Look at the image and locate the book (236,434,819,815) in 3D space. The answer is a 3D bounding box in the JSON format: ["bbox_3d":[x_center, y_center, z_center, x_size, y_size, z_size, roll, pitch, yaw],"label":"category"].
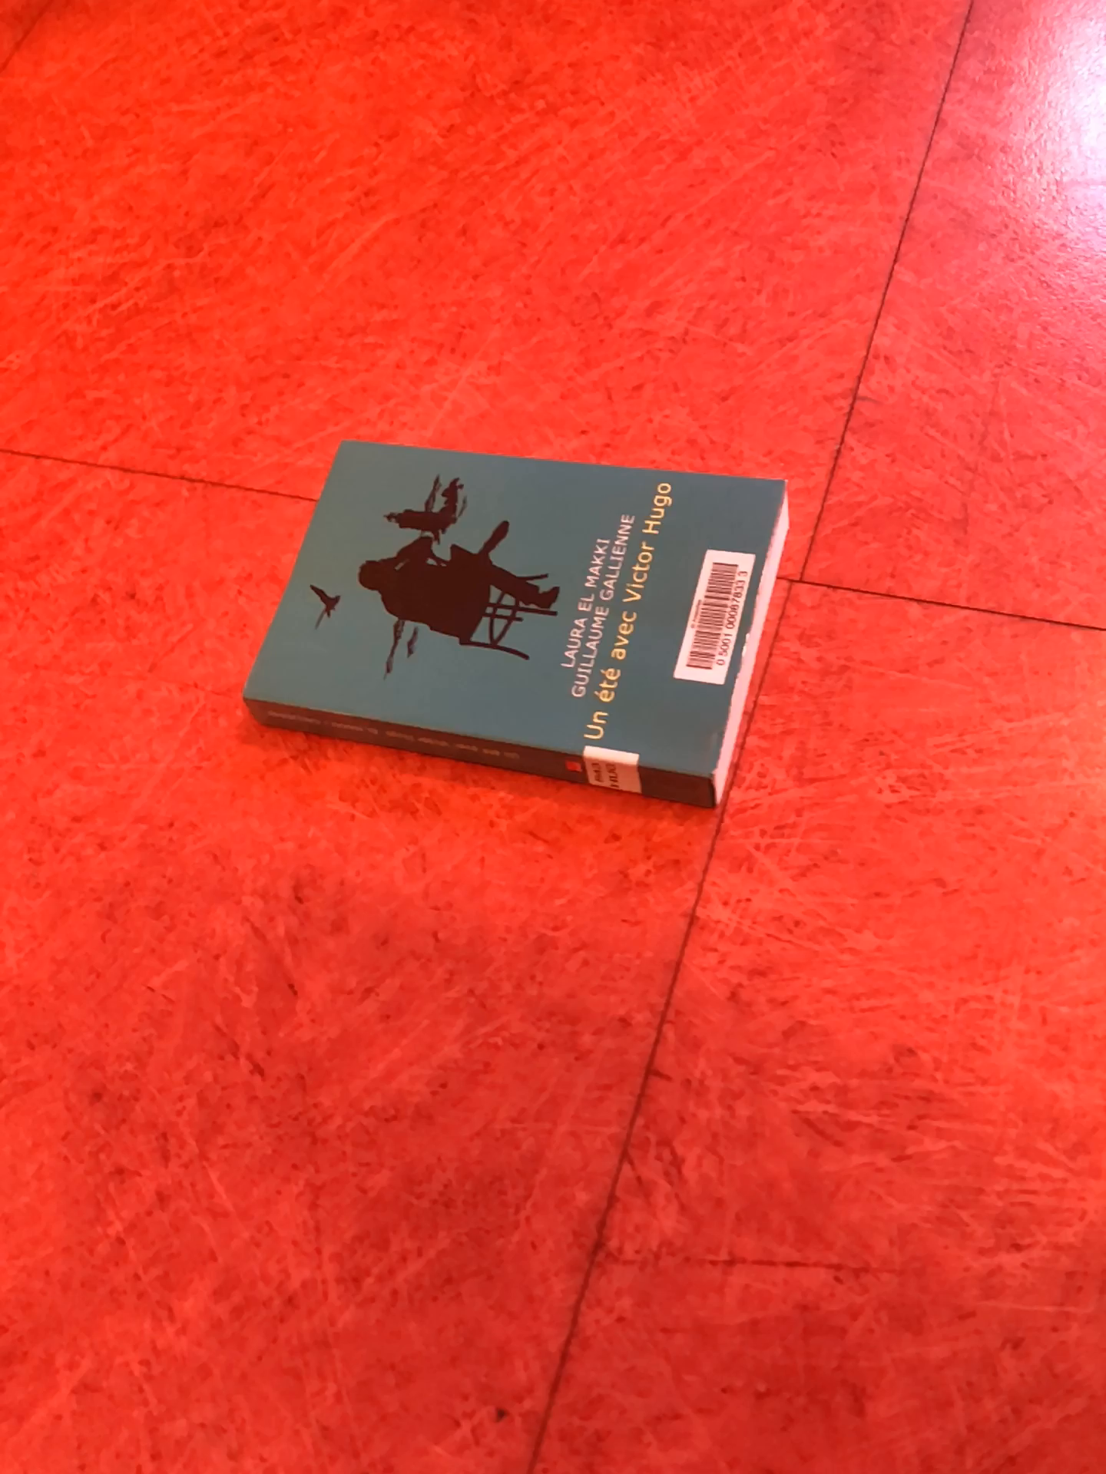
[{"bbox_3d":[-0.009,-0.043,0.403,0.170,0.020,0.110,9,68,19],"label":"book"}]
